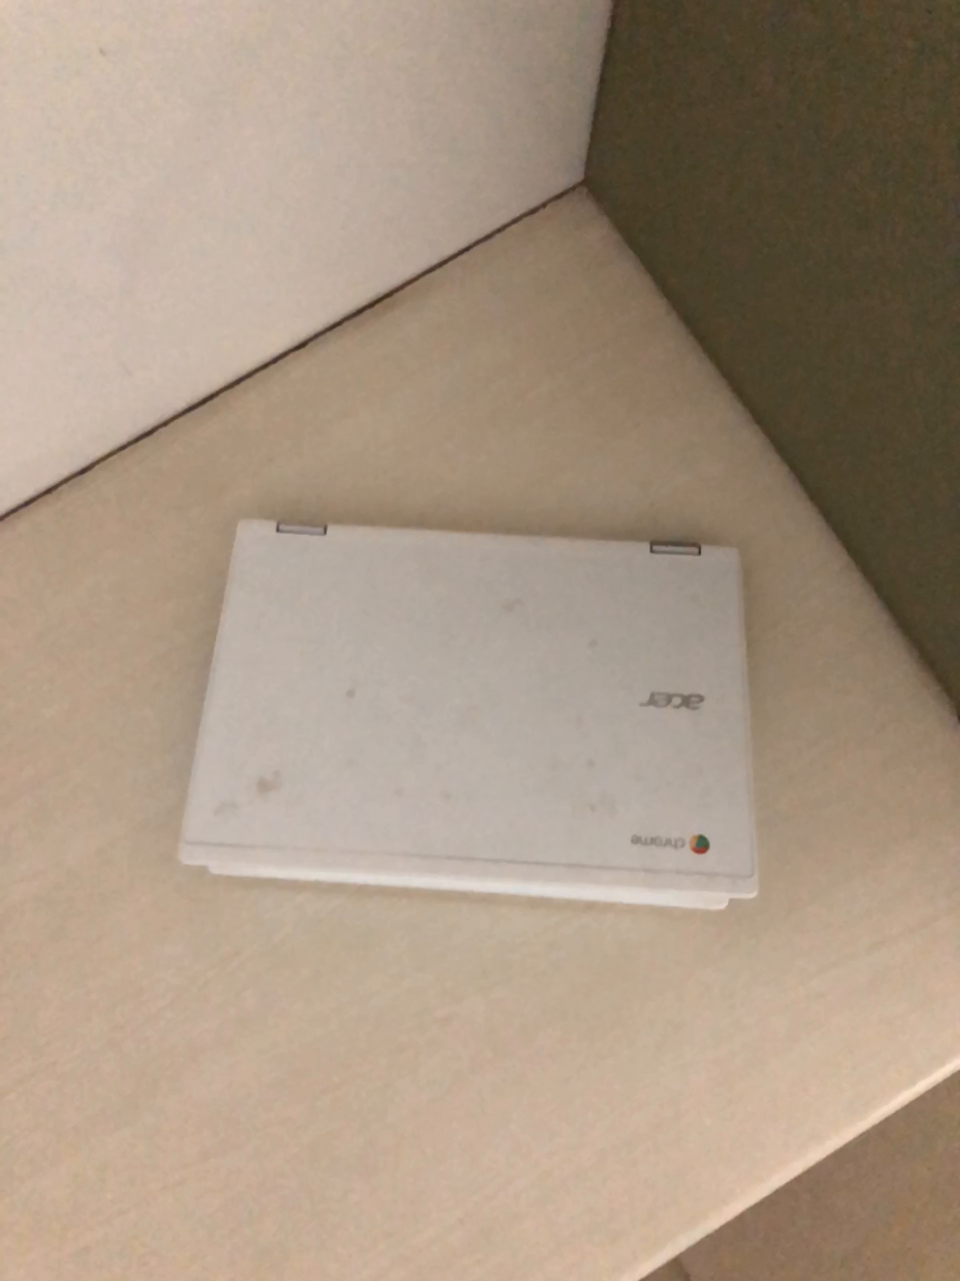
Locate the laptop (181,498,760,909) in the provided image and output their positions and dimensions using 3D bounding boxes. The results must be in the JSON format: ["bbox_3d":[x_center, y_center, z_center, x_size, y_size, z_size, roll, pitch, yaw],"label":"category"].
[{"bbox_3d":[-0.001,0.033,0.567,0.282,0.055,0.192,4,81,1],"label":"laptop"}]
